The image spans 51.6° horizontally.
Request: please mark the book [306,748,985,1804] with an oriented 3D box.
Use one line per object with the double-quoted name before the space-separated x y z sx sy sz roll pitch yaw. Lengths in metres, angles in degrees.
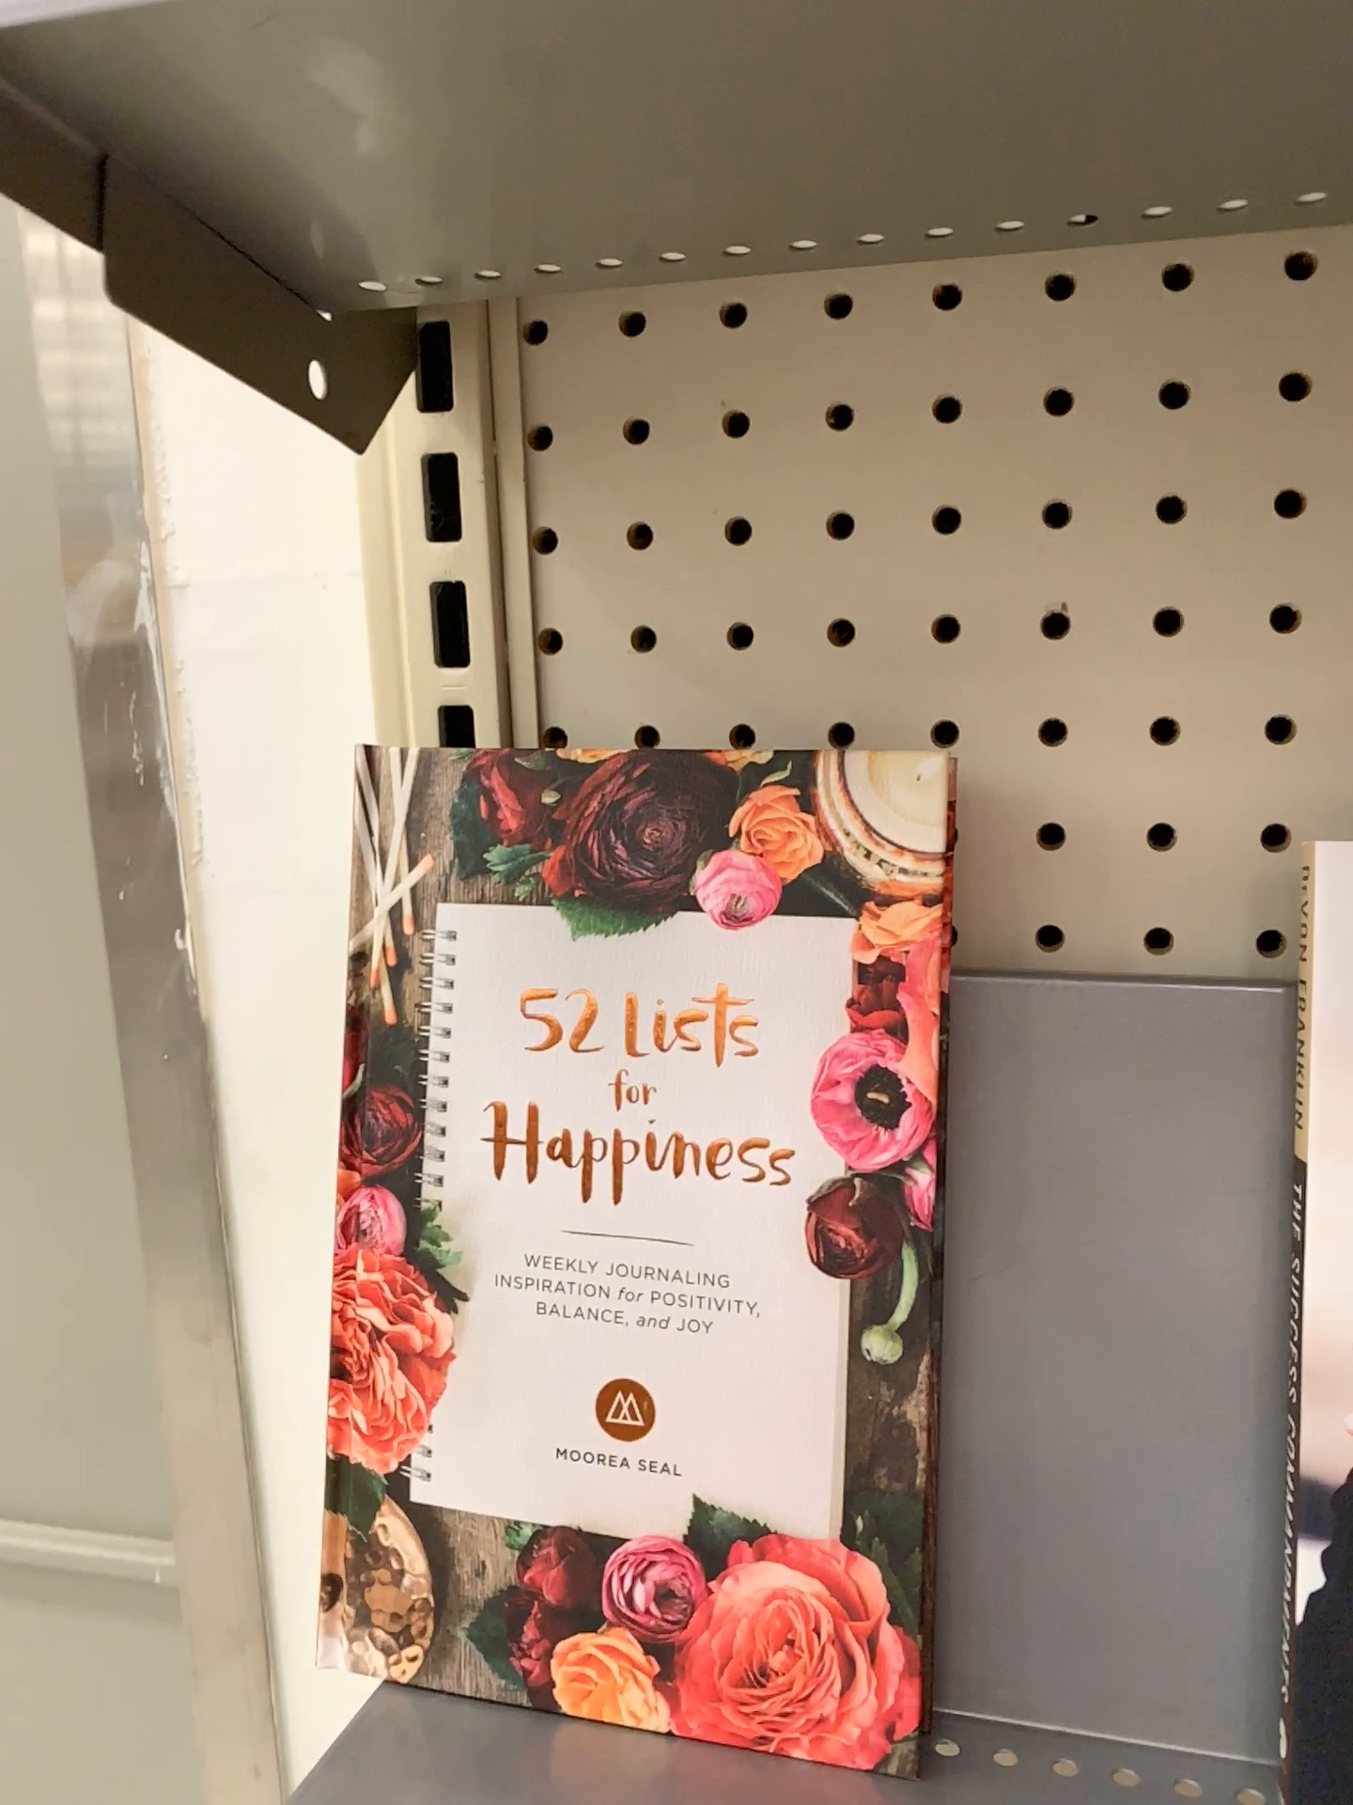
"book" -0.009 0.075 0.318 0.150 0.217 0.020 1 -2 16
